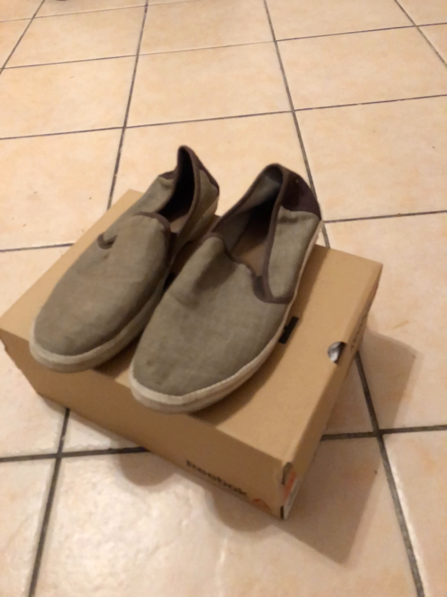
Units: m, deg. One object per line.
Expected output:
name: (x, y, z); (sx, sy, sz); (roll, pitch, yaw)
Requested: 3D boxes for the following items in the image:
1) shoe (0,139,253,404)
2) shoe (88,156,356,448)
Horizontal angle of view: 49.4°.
shoe: (-0.083, -0.049, 0.494); (0.110, 0.069, 0.293); (19, 52, 21)
shoe: (0.016, -0.018, 0.434); (0.100, 0.069, 0.271); (22, 53, 23)
